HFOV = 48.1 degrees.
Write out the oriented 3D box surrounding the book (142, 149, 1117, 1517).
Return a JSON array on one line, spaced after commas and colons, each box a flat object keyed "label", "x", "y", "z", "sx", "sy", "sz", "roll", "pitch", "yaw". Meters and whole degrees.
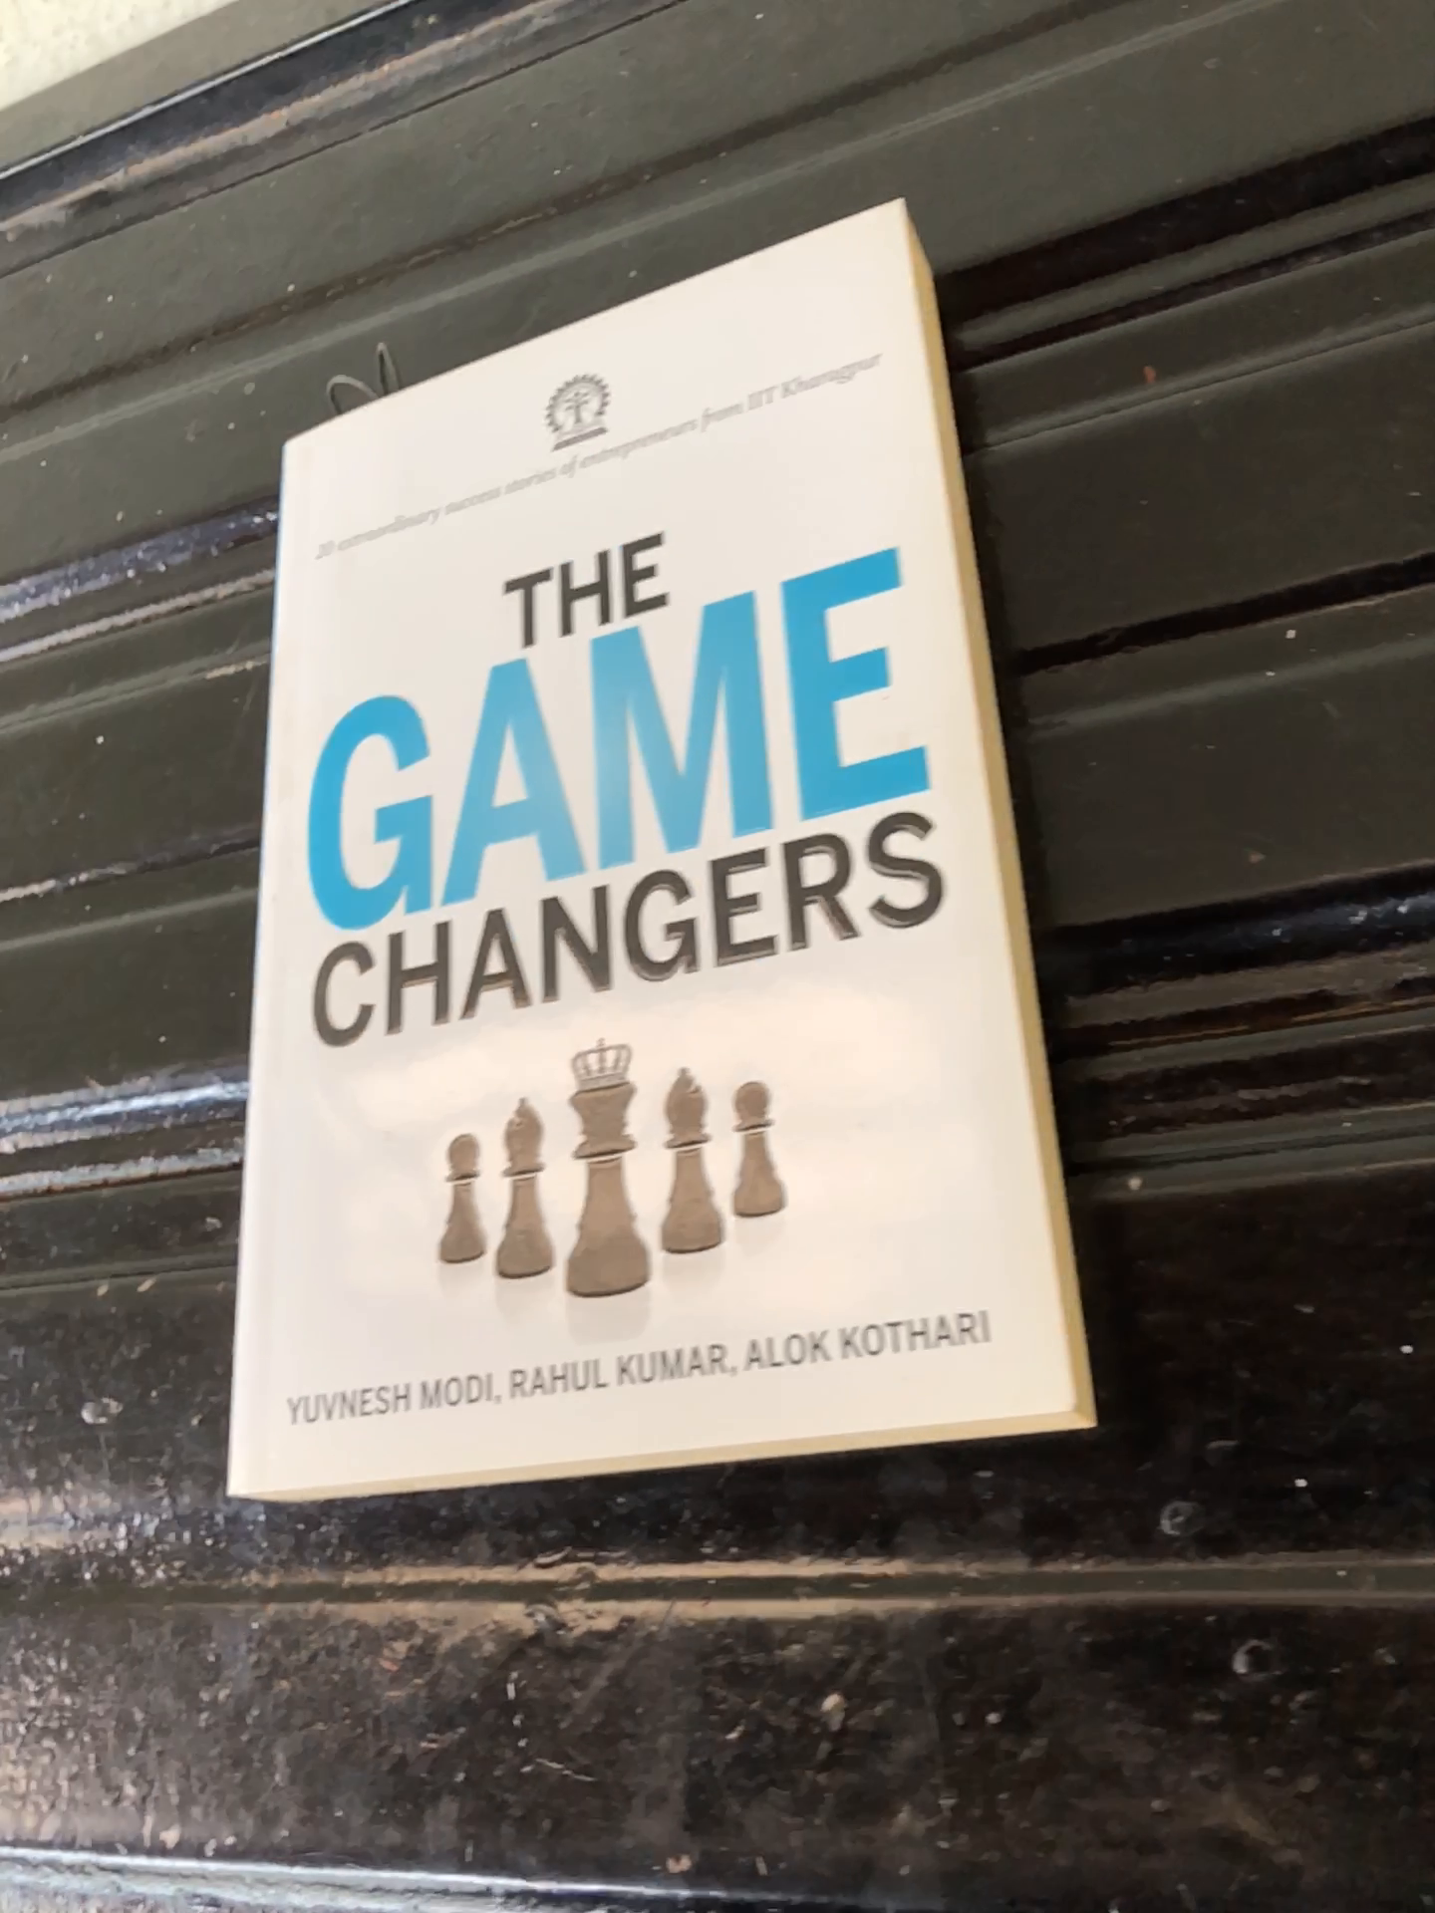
[{"label": "book", "x": -0.020, "y": -0.018, "z": 0.248, "sx": 0.130, "sy": 0.030, "sz": 0.190, "roll": -12, "pitch": 68, "yaw": 20}]
